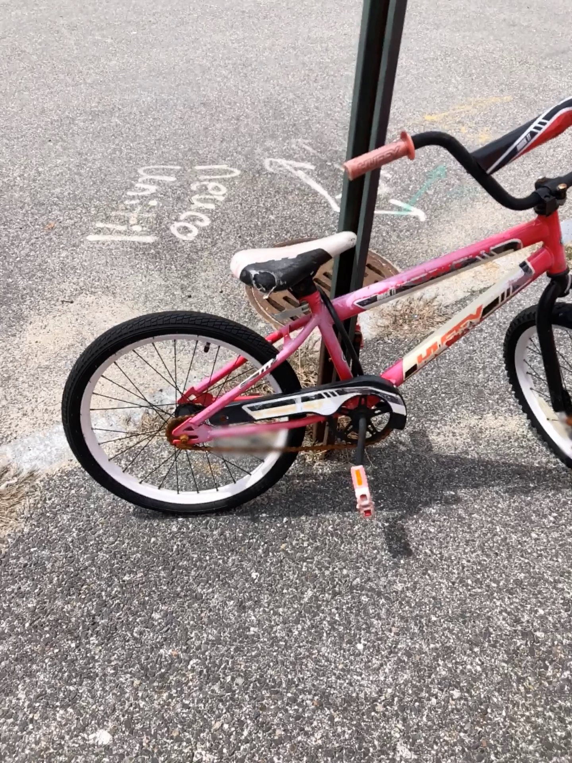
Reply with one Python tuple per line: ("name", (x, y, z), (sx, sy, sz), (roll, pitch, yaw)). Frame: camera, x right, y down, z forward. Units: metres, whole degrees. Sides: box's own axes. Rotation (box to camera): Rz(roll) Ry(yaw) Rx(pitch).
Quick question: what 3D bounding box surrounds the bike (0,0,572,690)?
("bike", (0.163, -0.094, 1.027), (1.175, 0.887, 0.700), (2, 44, 1))
